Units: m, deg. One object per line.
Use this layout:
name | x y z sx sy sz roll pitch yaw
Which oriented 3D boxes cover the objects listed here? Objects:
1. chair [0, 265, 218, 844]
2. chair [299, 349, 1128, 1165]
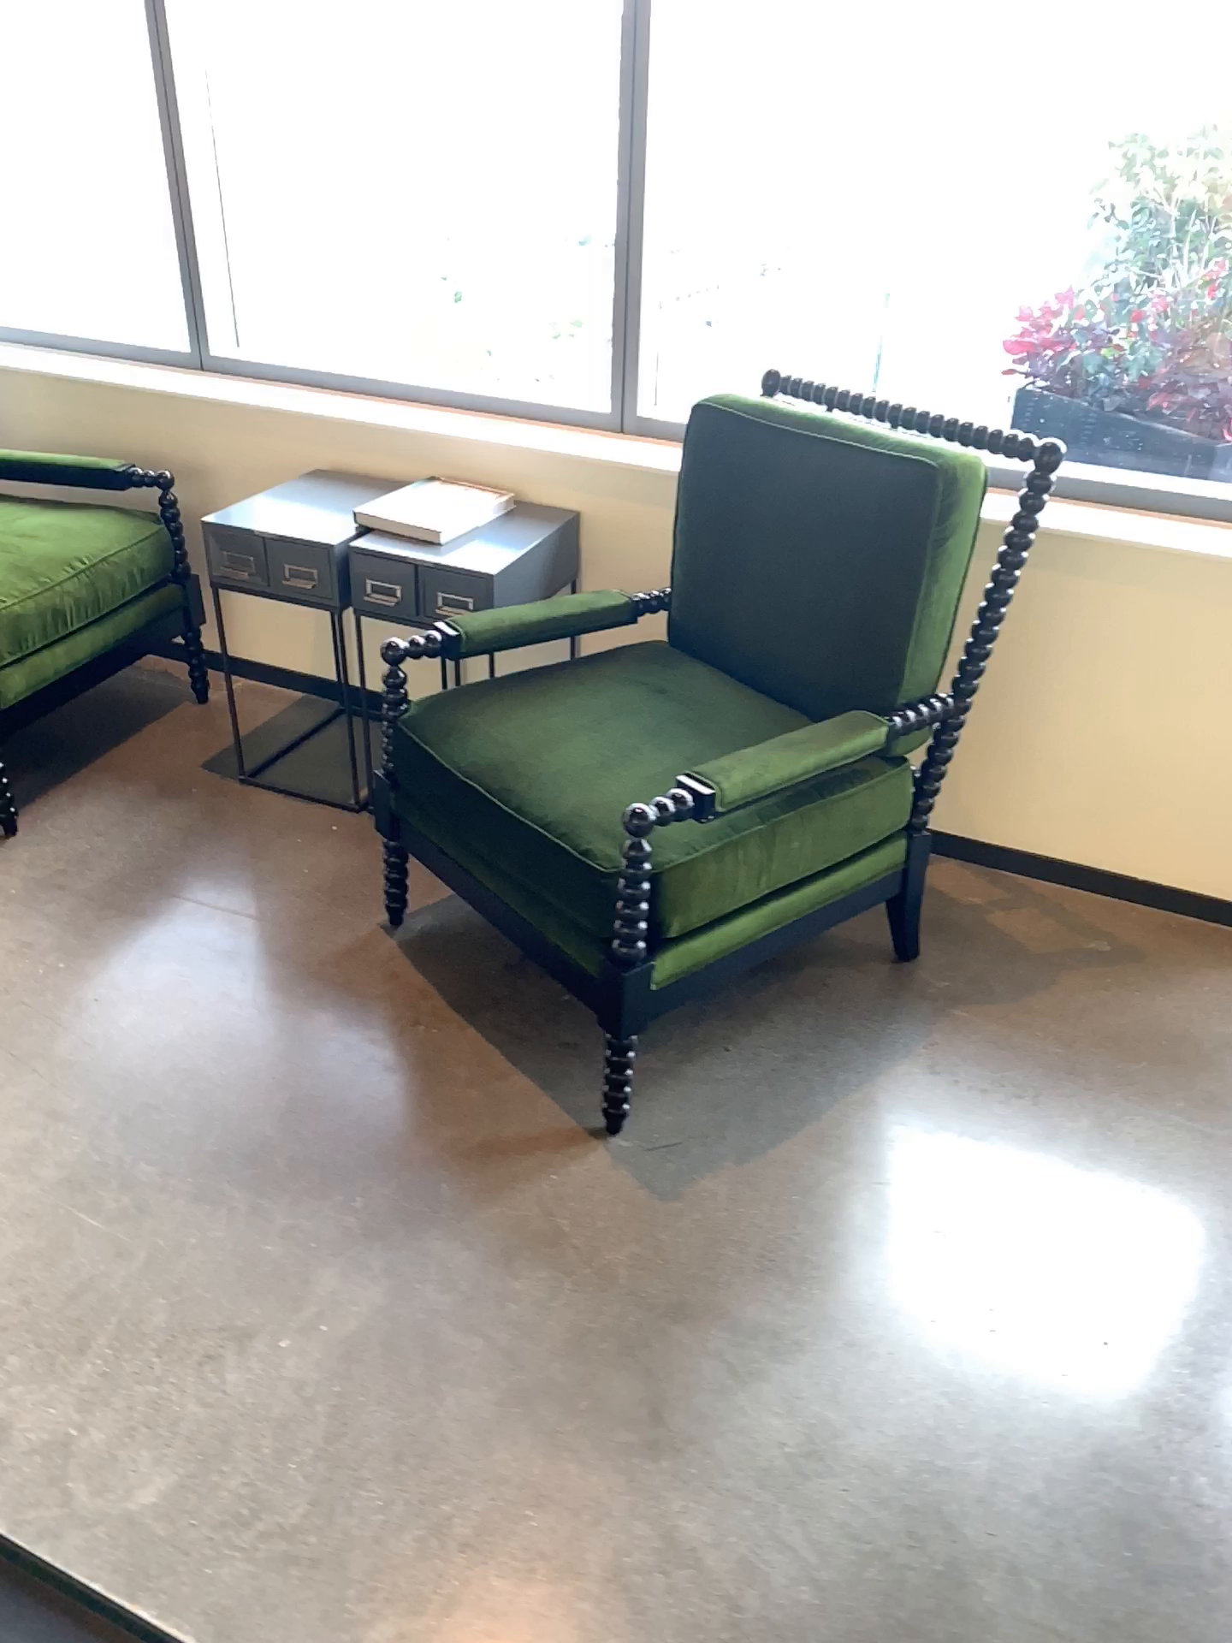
chair | -1.574 -0.642 2.782 0.911 0.924 0.844 11 32 14
chair | 0.123 -0.212 2.182 0.941 0.924 0.874 -20 38 -33
